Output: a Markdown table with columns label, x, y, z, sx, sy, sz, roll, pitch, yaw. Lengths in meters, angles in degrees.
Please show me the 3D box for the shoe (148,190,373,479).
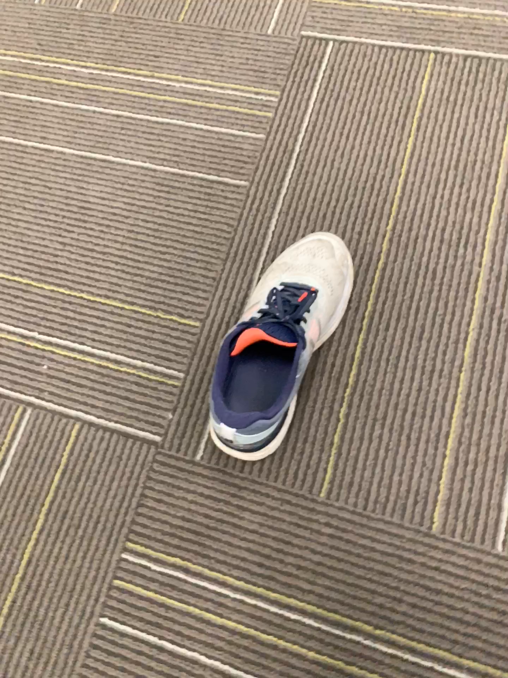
| label | x | y | z | sx | sy | sz | roll | pitch | yaw |
| --- | --- | --- | --- | --- | --- | --- | --- | --- | --- |
| shoe | 0.016 | -0.009 | 0.591 | 0.130 | 0.080 | 0.290 | 22 | 75 | 14 |
